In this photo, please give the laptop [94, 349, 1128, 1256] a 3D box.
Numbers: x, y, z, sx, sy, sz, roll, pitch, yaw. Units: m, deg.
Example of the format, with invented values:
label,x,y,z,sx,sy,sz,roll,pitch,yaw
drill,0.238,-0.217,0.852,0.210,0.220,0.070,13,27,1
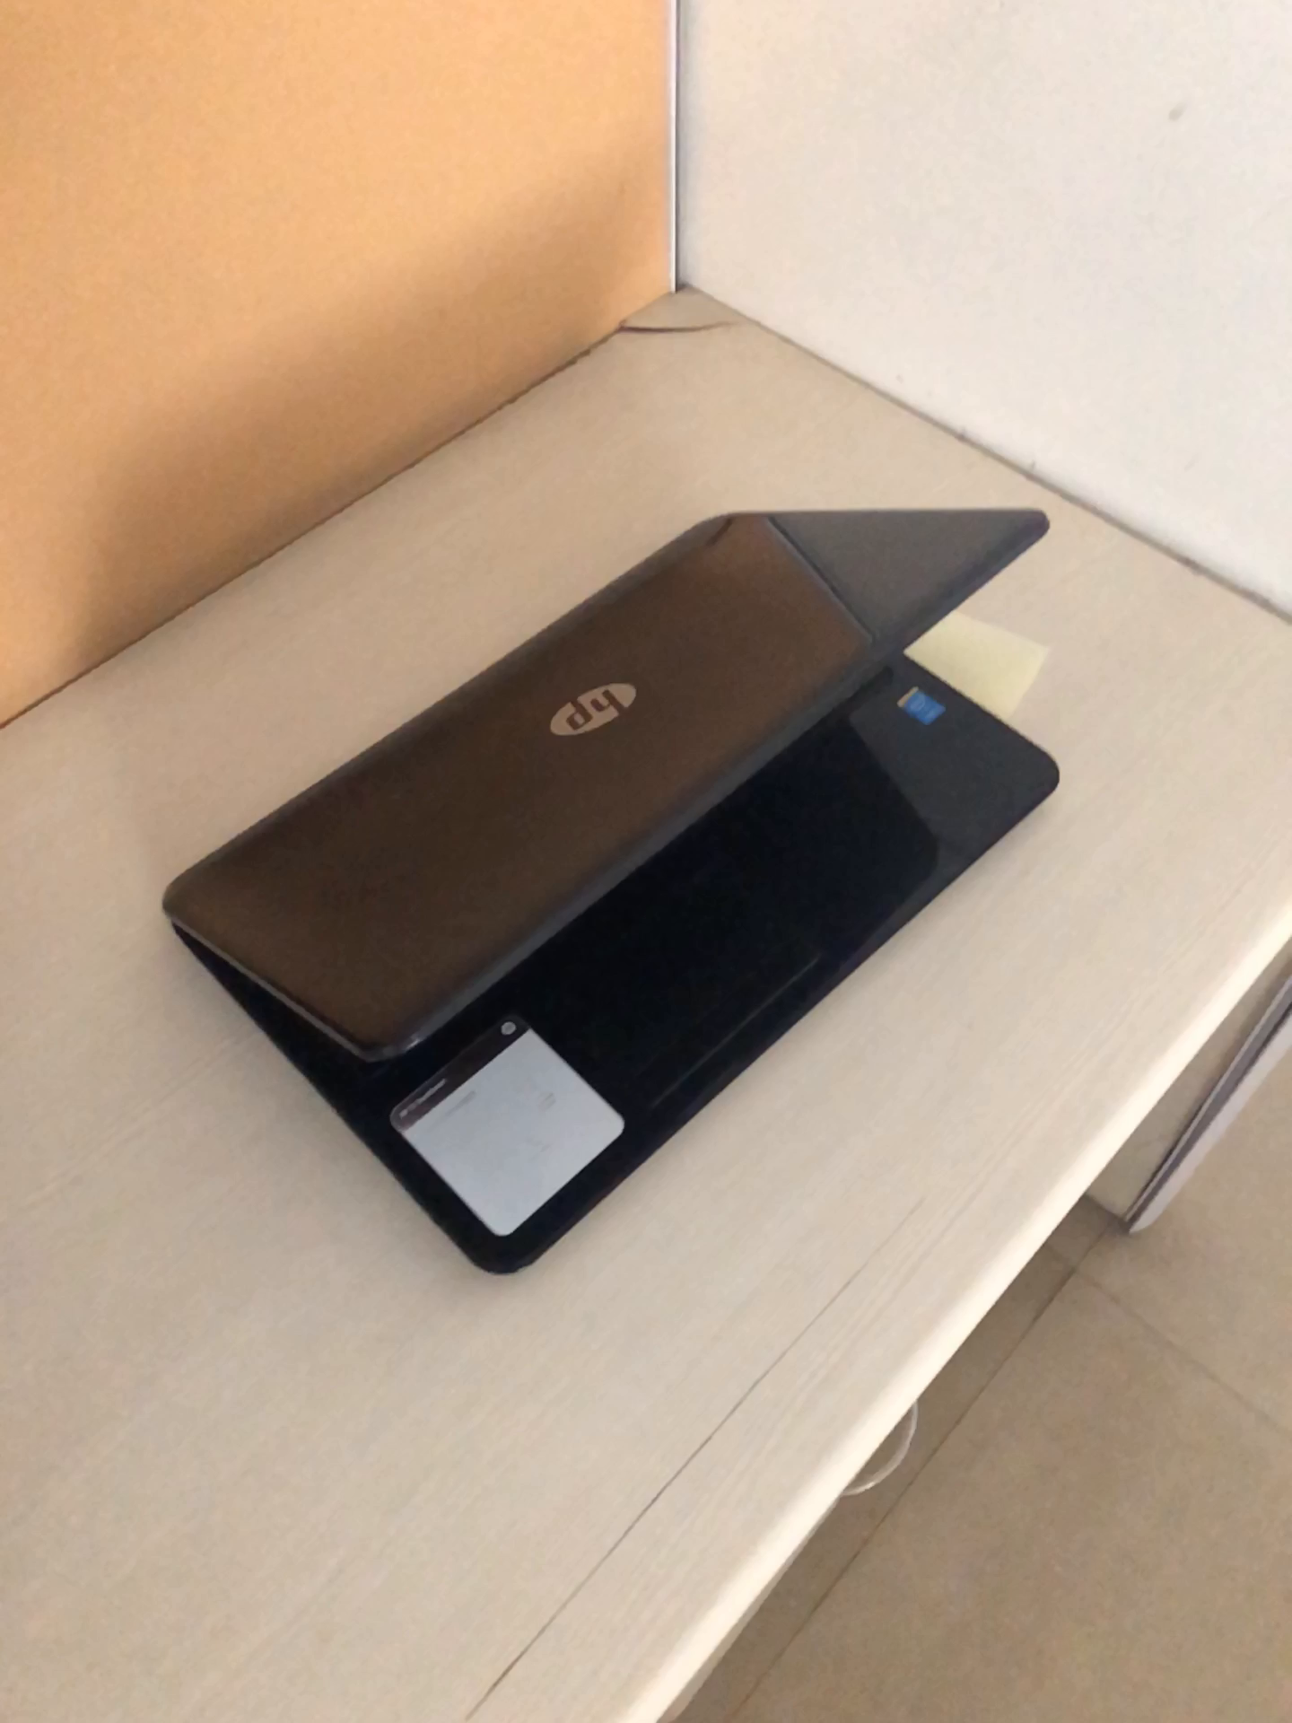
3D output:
label,x,y,z,sx,sy,sz,roll,pitch,yaw
laptop,-0.007,-0.045,0.628,0.353,0.131,0.224,-38,62,-22
